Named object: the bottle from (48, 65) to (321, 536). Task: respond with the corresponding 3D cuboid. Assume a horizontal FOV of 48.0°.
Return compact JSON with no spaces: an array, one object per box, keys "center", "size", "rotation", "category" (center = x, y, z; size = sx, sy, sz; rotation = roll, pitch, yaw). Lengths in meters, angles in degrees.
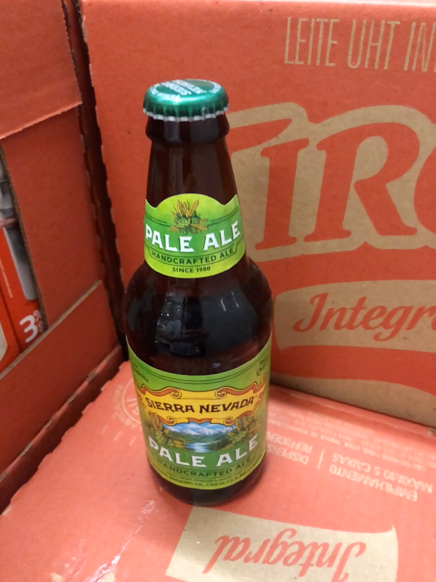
[{"center":[-0.006,0.016,0.202],"size":[0.070,0.189,0.060],"rotation":[5,35,6],"category":"bottle"}]
